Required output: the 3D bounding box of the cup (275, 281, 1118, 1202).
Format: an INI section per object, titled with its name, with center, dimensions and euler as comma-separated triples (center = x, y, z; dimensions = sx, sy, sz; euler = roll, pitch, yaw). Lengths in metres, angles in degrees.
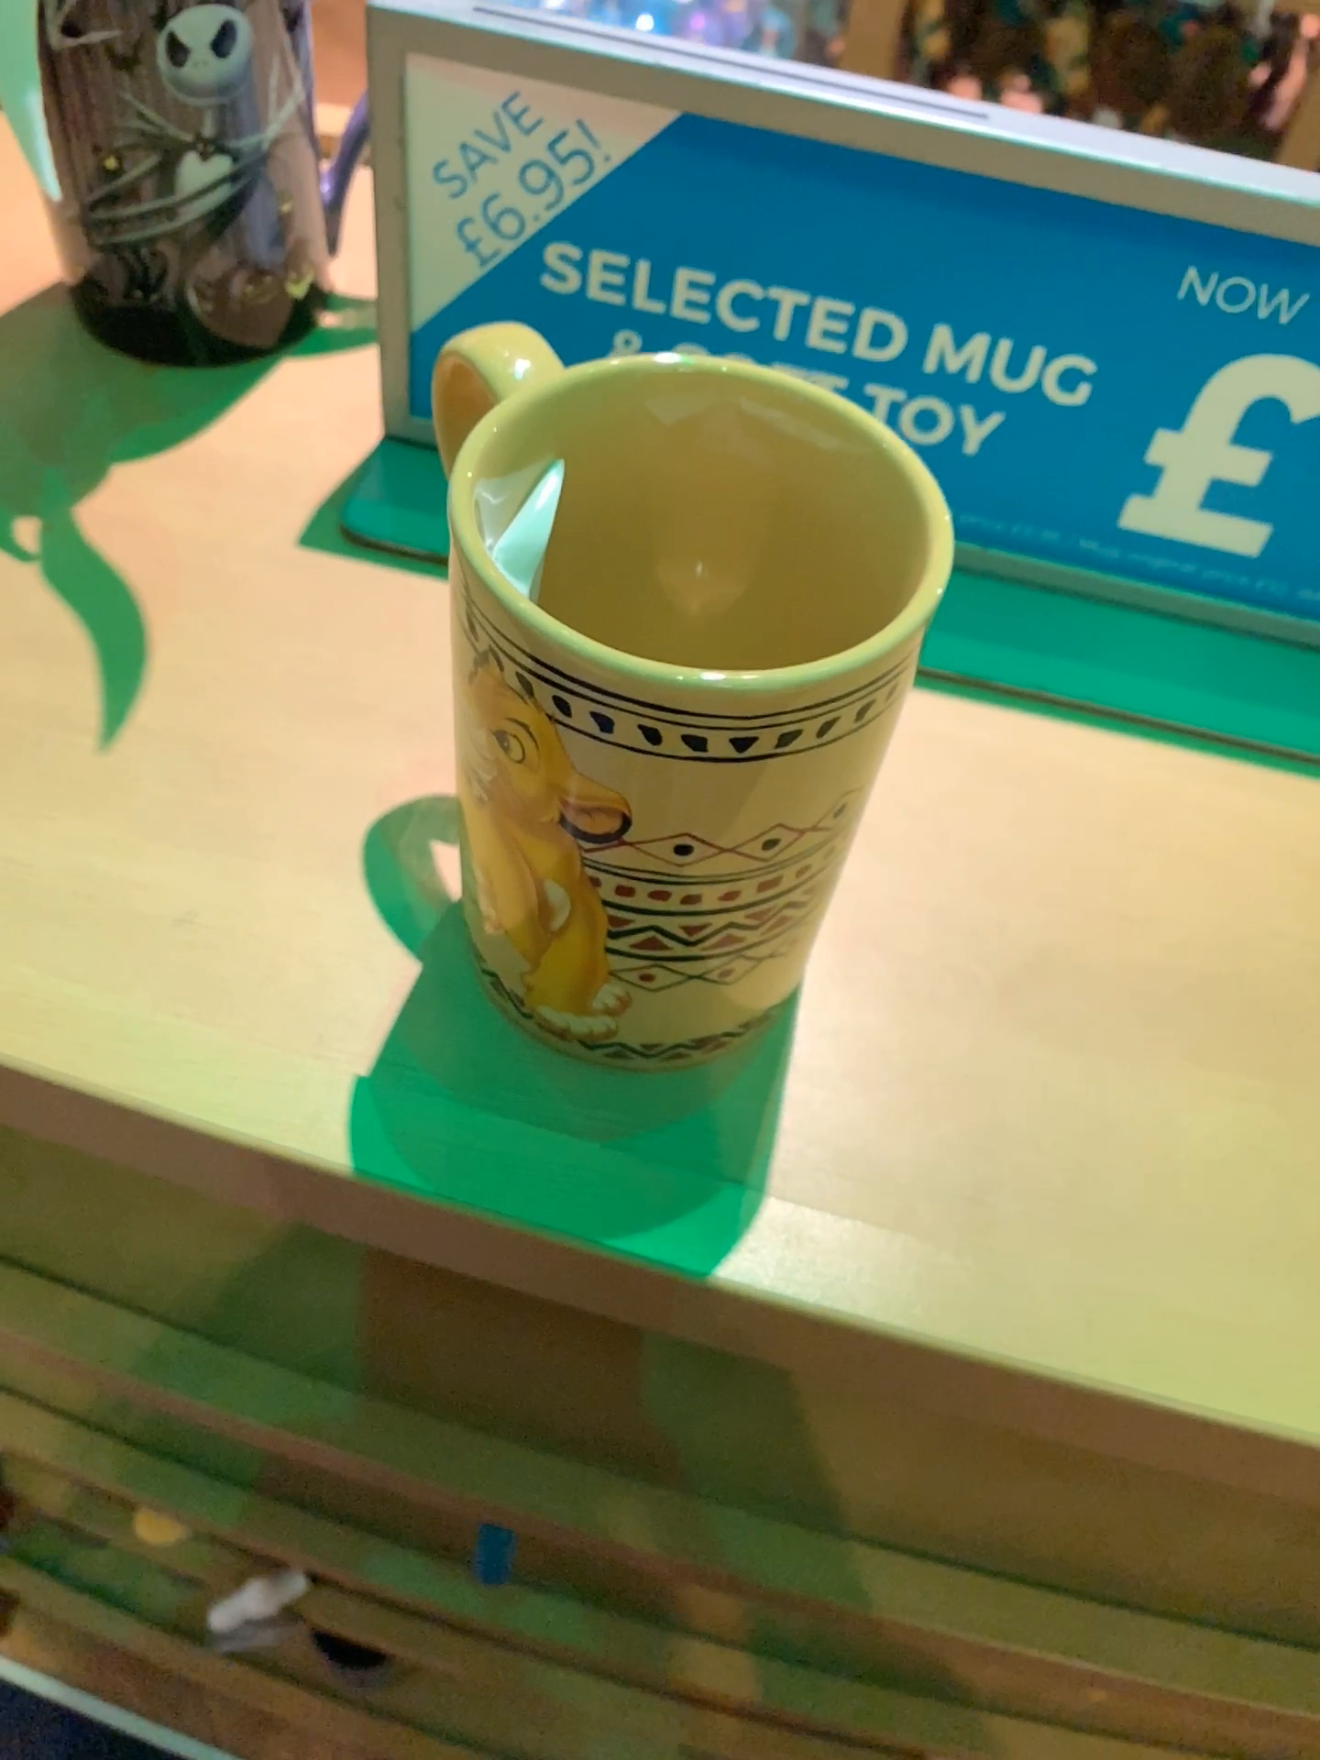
[cup]
center = -0.003, -0.030, 0.292
dimensions = 0.100, 0.121, 0.119
euler = -28, 62, -29
